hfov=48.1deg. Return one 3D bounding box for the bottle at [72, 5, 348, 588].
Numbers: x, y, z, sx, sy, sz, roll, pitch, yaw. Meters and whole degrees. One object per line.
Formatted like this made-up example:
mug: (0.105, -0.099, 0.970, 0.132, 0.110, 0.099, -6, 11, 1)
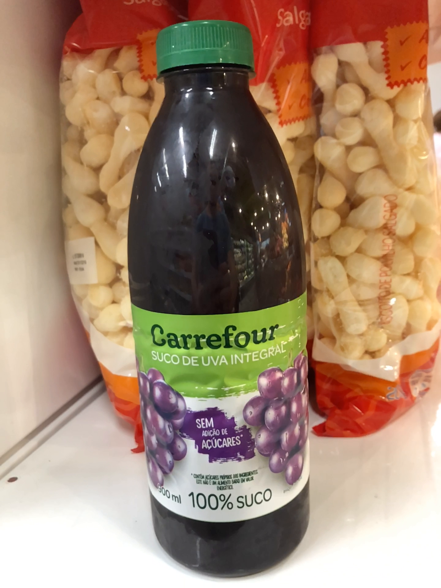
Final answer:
bottle: (-0.002, 0.007, 0.228, 0.090, 0.229, 0.080, -2, 15, -2)
